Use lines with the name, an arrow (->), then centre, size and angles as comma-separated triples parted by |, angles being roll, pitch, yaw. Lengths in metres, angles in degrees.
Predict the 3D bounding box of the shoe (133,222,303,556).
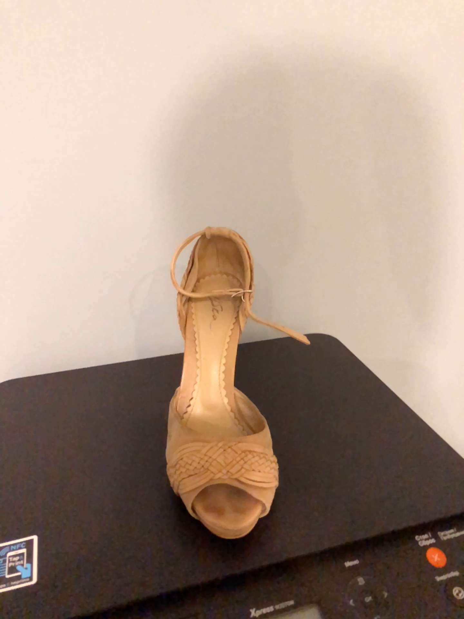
shoe -> -0.016, 0.039, 0.402 | 0.090, 0.159, 0.221 | -2, 24, -4
